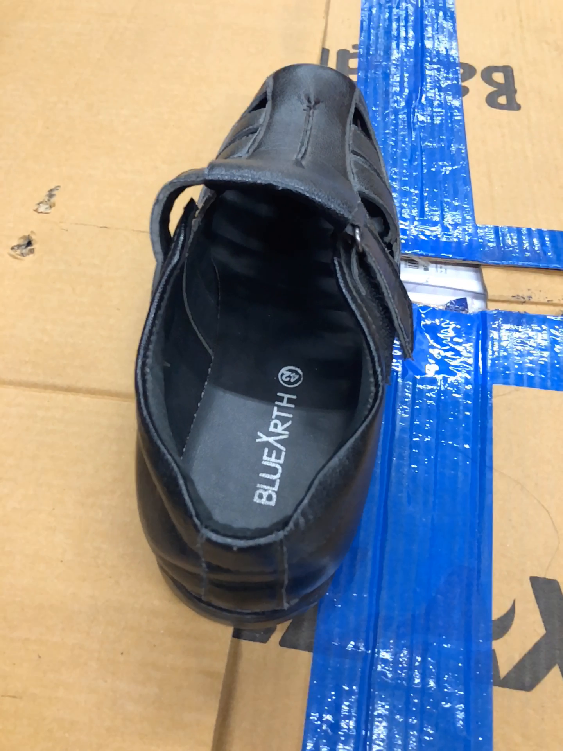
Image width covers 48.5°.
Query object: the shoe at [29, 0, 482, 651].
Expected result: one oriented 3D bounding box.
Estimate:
[{"bbox_3d":[0.007,-0.063,0.257,0.100,0.097,0.305,6,60,2],"label":"shoe"}]
